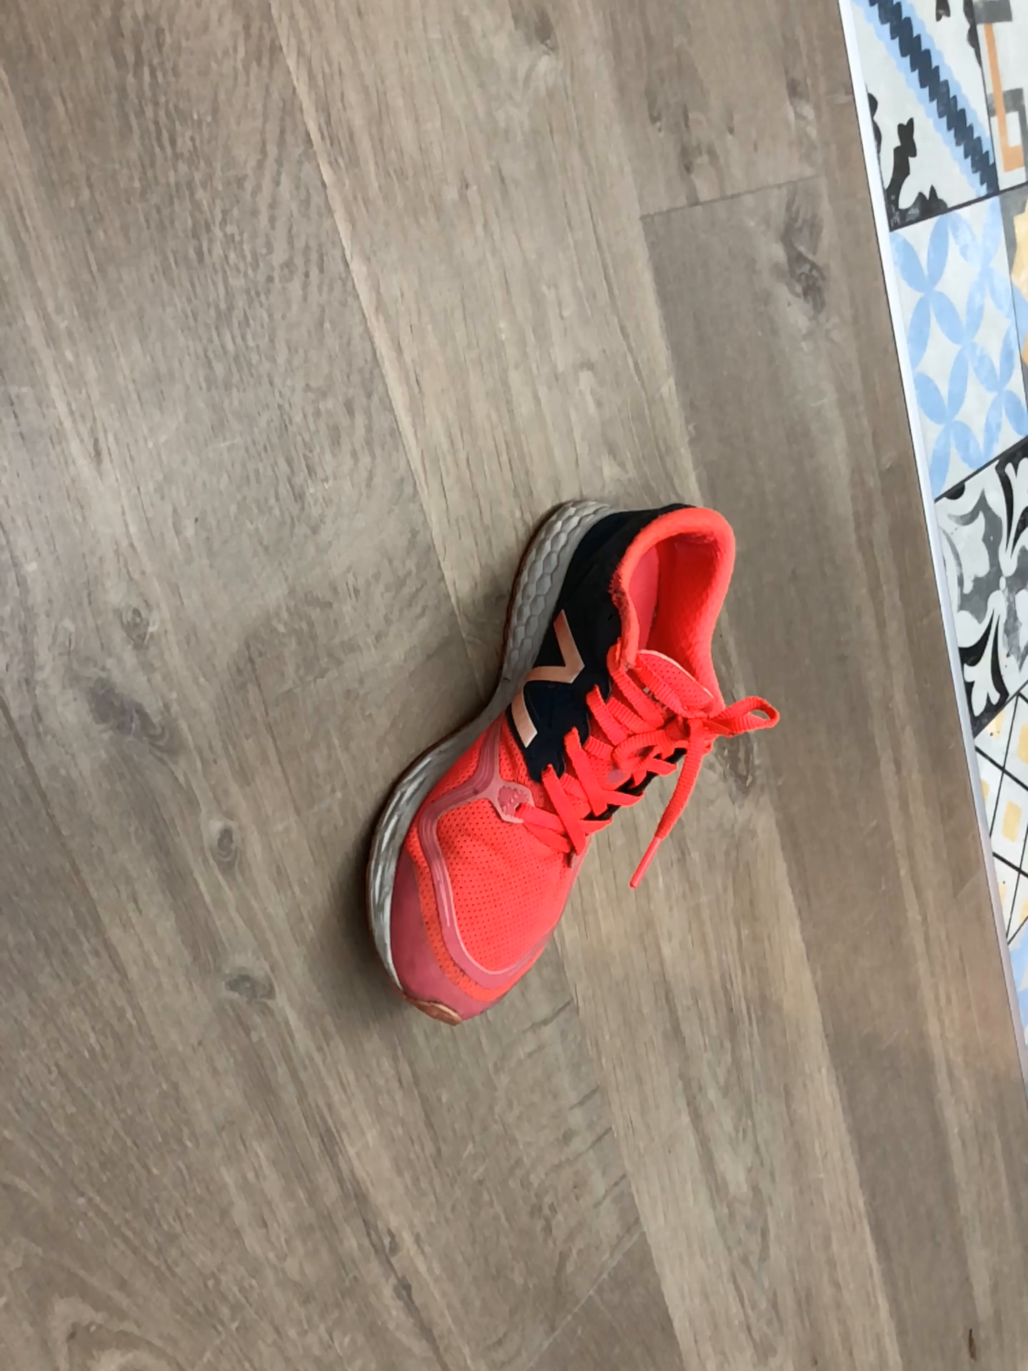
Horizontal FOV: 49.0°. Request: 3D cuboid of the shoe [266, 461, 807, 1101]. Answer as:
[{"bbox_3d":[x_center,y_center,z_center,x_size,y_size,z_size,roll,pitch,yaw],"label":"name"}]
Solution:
[{"bbox_3d":[0.018,0.032,0.493,0.100,0.109,0.241,45,62,-36],"label":"shoe"}]
